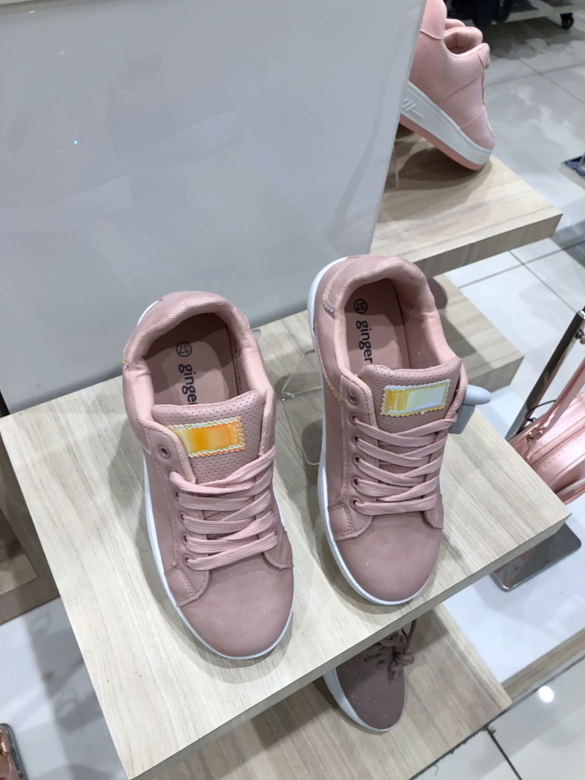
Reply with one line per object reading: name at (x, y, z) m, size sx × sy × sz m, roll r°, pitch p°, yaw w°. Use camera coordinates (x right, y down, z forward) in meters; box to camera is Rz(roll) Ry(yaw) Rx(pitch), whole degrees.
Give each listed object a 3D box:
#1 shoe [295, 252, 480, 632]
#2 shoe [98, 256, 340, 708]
shoe at (0.068, 0.030, 0.481) m, size 0.100 × 0.250 × 0.100 m, roll -5°, pitch 9°, yaw -10°
shoe at (-0.053, 0.053, 0.444) m, size 0.100 × 0.100 × 0.260 m, roll -11°, pitch 94°, yaw -13°
